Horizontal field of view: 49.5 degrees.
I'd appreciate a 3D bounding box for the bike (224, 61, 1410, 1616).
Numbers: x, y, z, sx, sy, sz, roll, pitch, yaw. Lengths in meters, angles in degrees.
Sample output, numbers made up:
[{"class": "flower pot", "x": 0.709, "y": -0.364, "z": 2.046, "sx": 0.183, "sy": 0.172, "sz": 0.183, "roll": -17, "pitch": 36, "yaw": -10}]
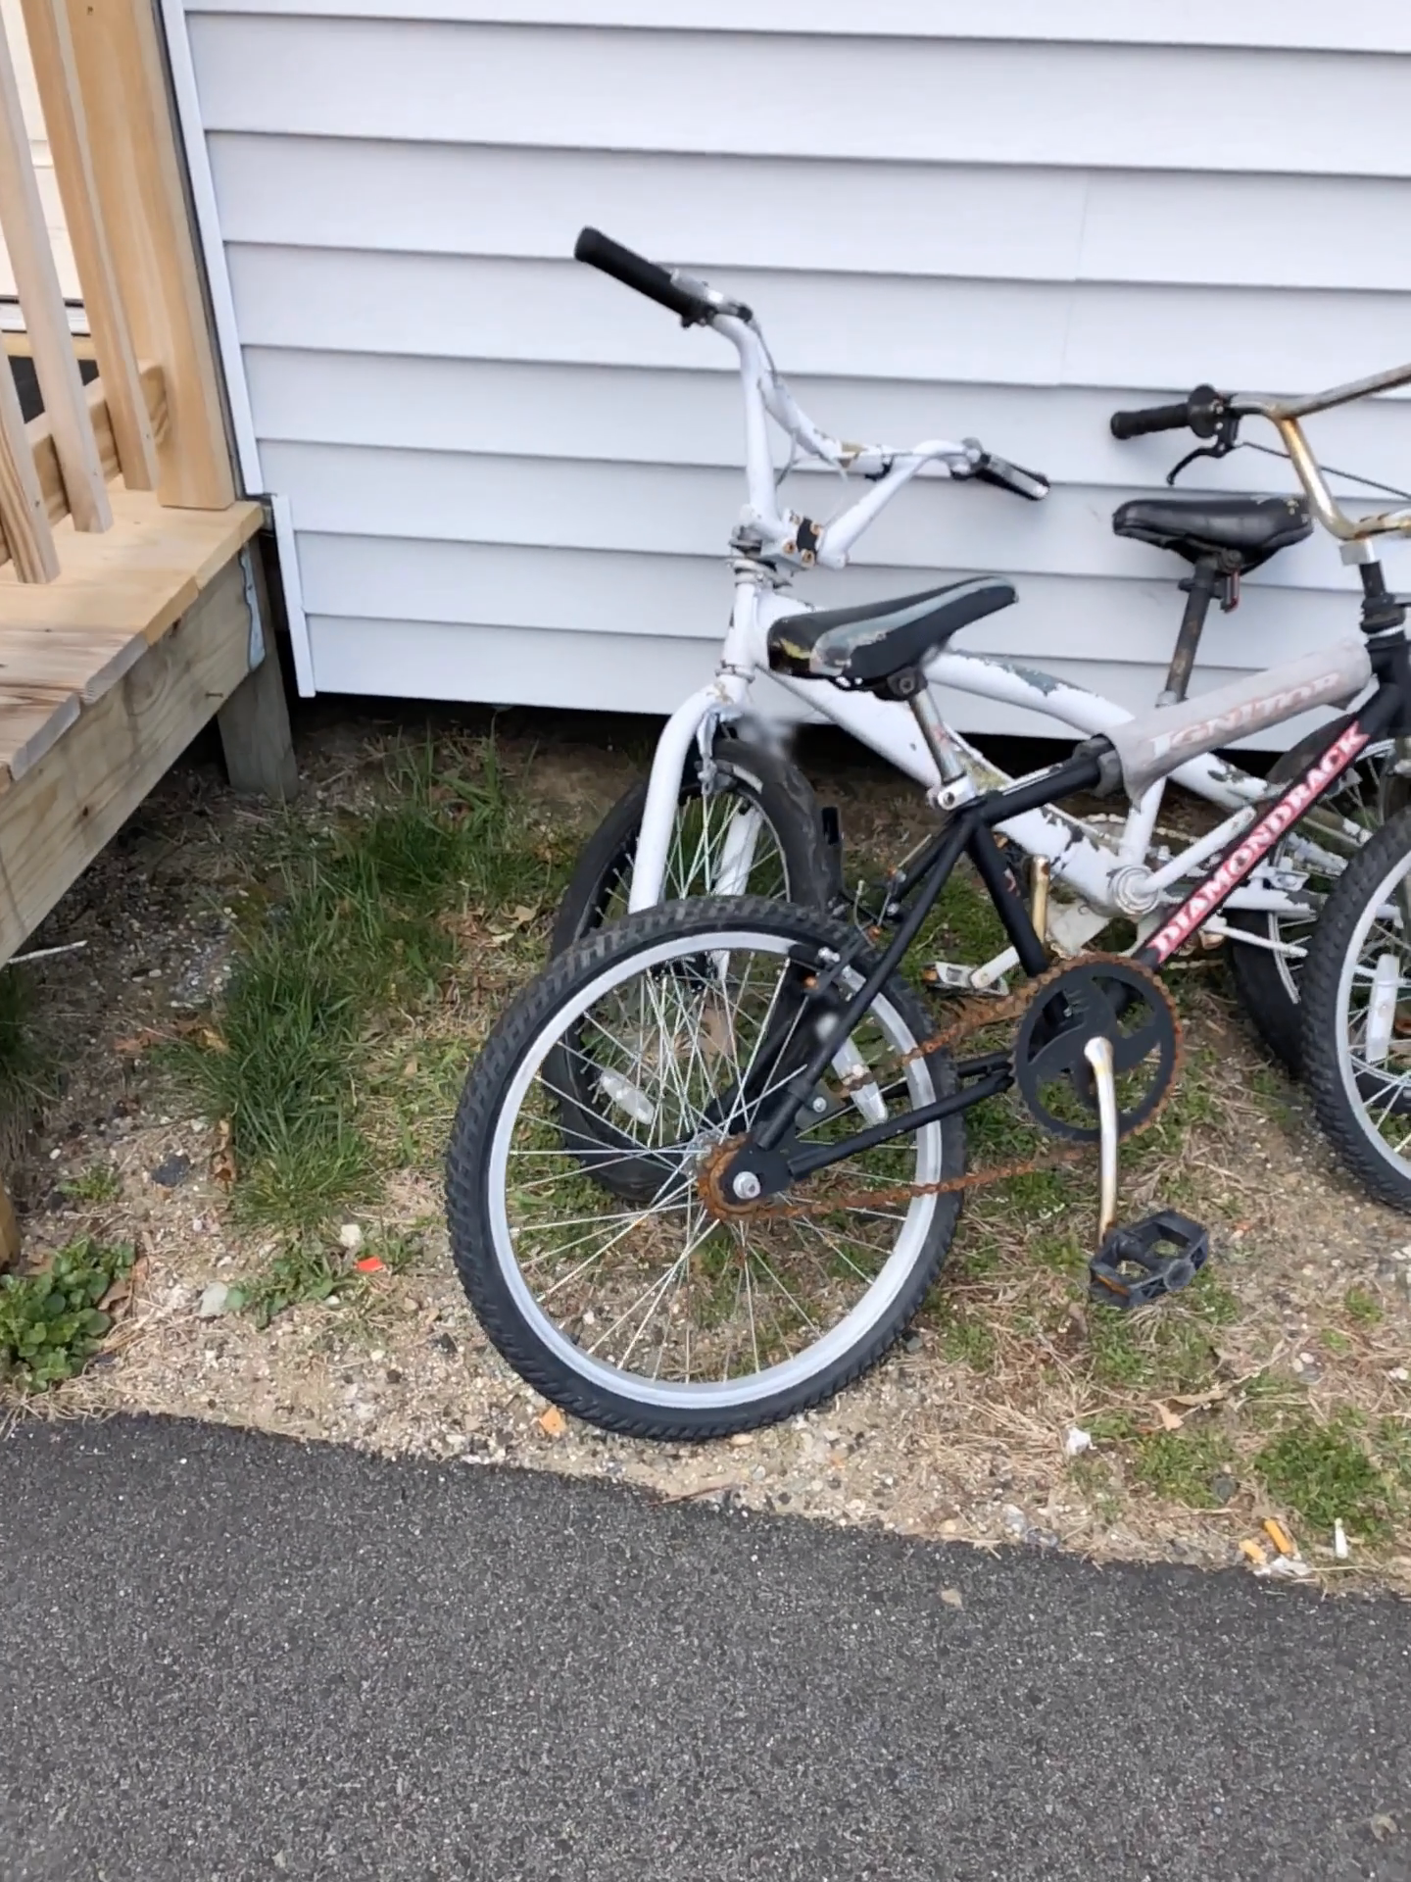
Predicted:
[{"class": "bike", "x": 0.345, "y": -0.197, "z": 1.435, "sx": 1.297, "sy": 0.932, "sz": 0.760, "roll": -14, "pitch": 38, "yaw": -17}]
